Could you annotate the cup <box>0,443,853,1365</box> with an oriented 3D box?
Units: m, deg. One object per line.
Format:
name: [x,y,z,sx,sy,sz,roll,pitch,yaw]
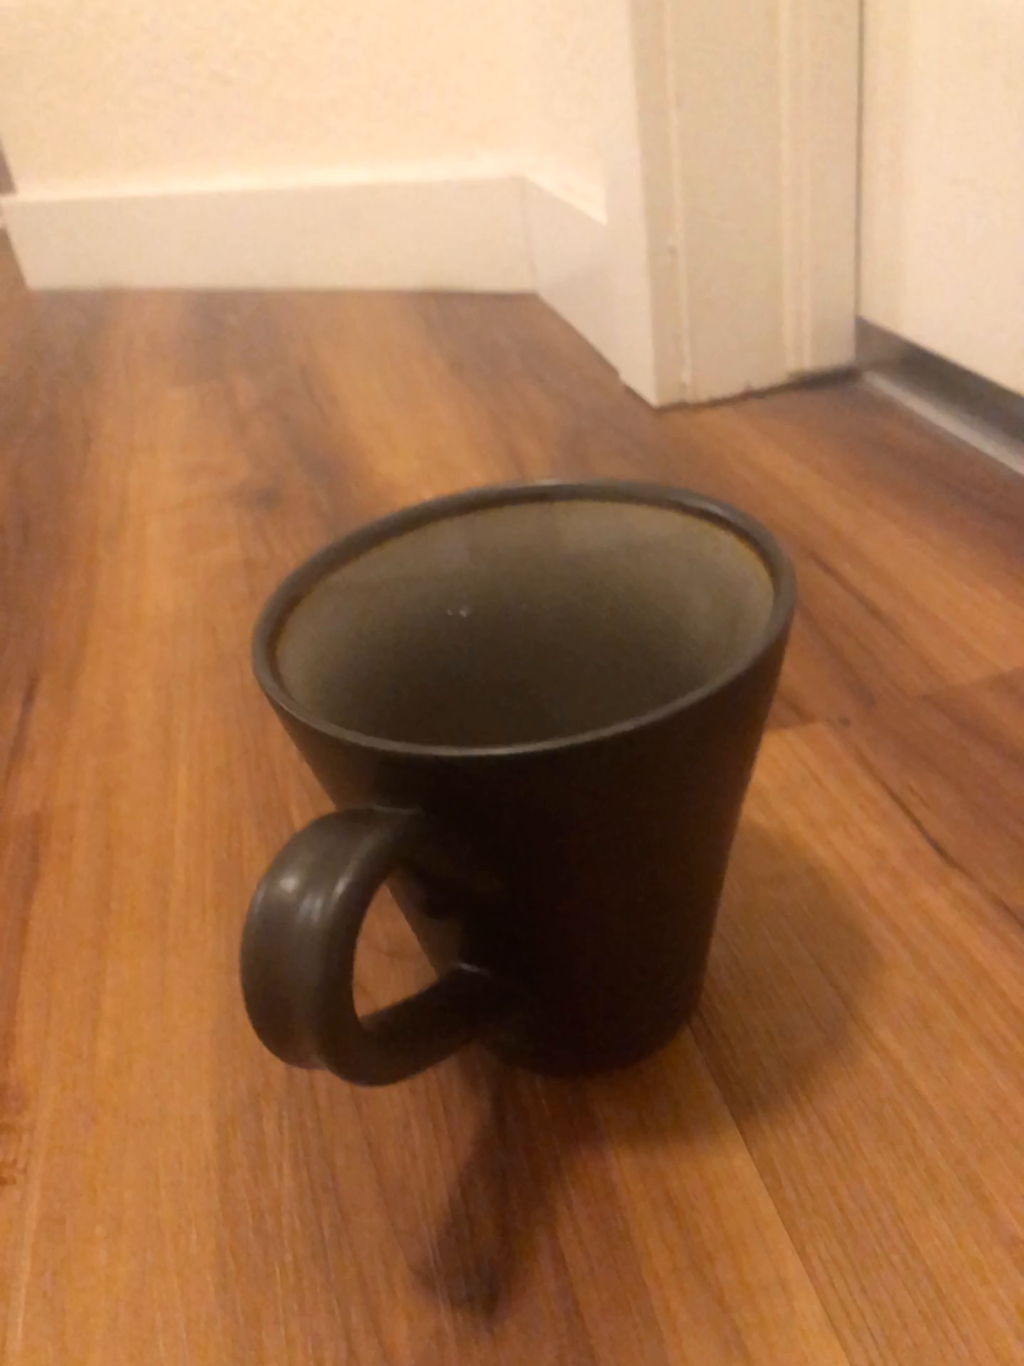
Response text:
cup: [-0.002,0.027,0.243,0.114,0.100,0.155,8,35,25]
